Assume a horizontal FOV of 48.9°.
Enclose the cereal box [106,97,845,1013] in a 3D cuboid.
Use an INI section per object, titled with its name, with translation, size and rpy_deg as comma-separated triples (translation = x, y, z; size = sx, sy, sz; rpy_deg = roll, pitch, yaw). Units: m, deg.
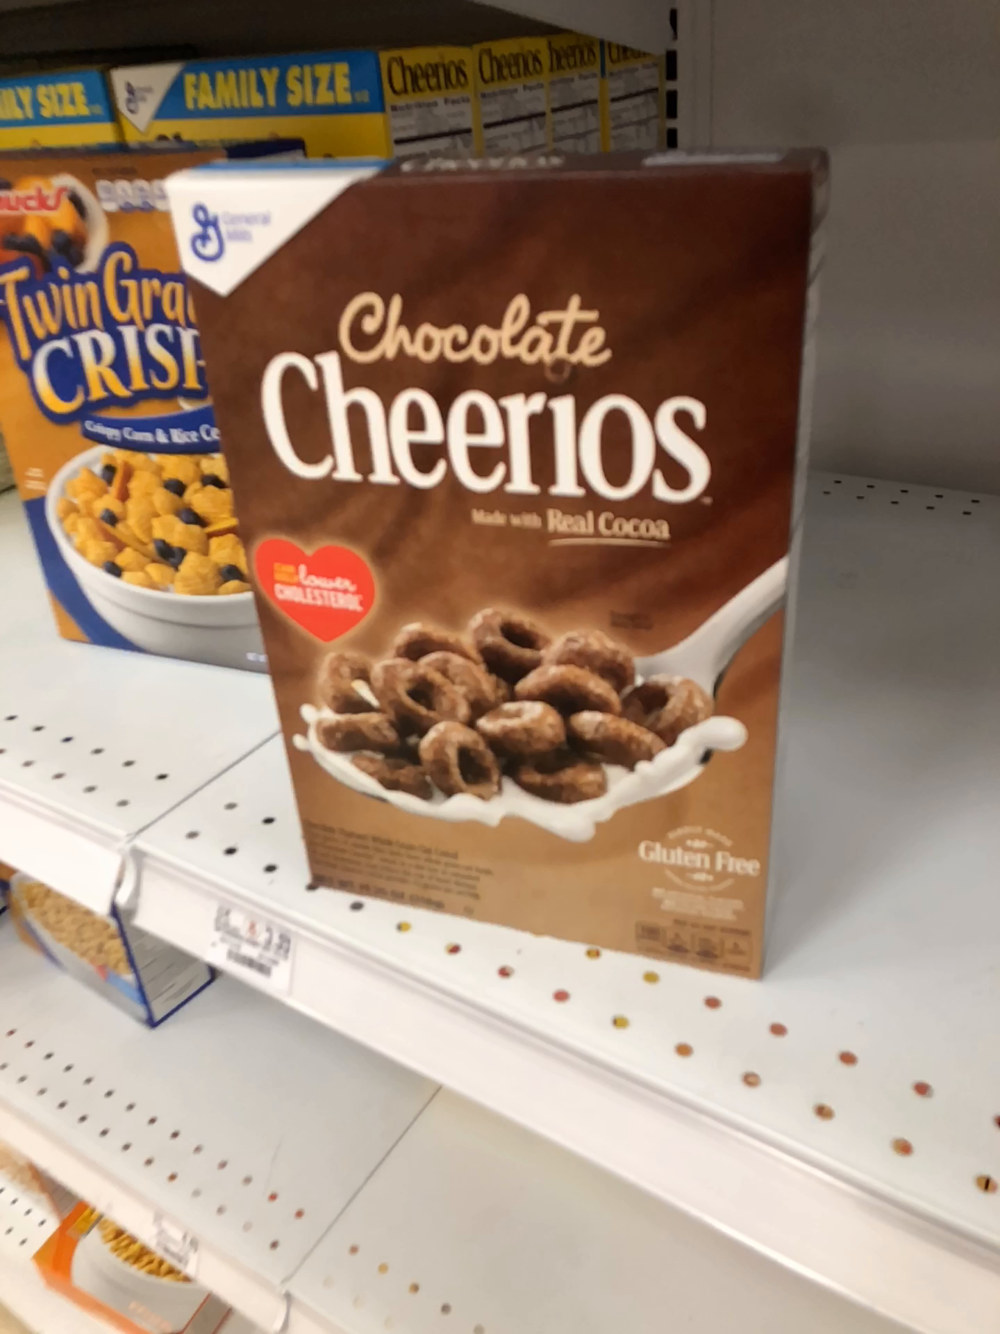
[cereal box]
translation = 0.003, -0.025, 0.382
size = 0.200, 0.289, 0.060
rpy_deg = 7, 34, 22
